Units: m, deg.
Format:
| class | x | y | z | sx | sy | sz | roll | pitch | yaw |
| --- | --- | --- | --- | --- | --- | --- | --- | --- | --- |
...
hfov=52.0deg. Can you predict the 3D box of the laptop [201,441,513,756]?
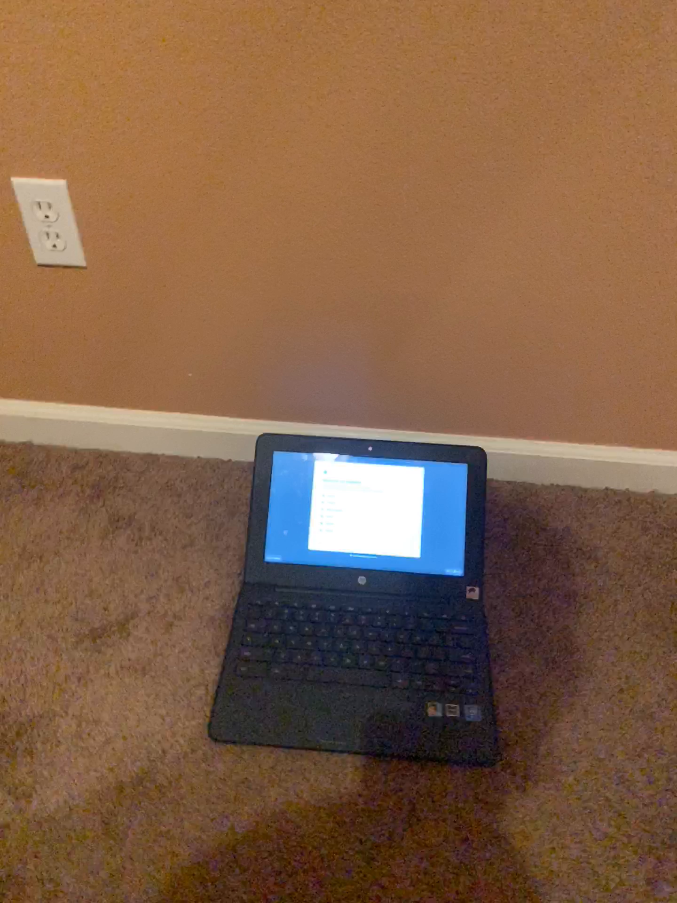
| class | x | y | z | sx | sy | sz | roll | pitch | yaw |
| --- | --- | --- | --- | --- | --- | --- | --- | --- | --- |
| laptop | 0.029 | 0.149 | 0.806 | 0.287 | 0.124 | 0.334 | 4 | 40 | 3 |
